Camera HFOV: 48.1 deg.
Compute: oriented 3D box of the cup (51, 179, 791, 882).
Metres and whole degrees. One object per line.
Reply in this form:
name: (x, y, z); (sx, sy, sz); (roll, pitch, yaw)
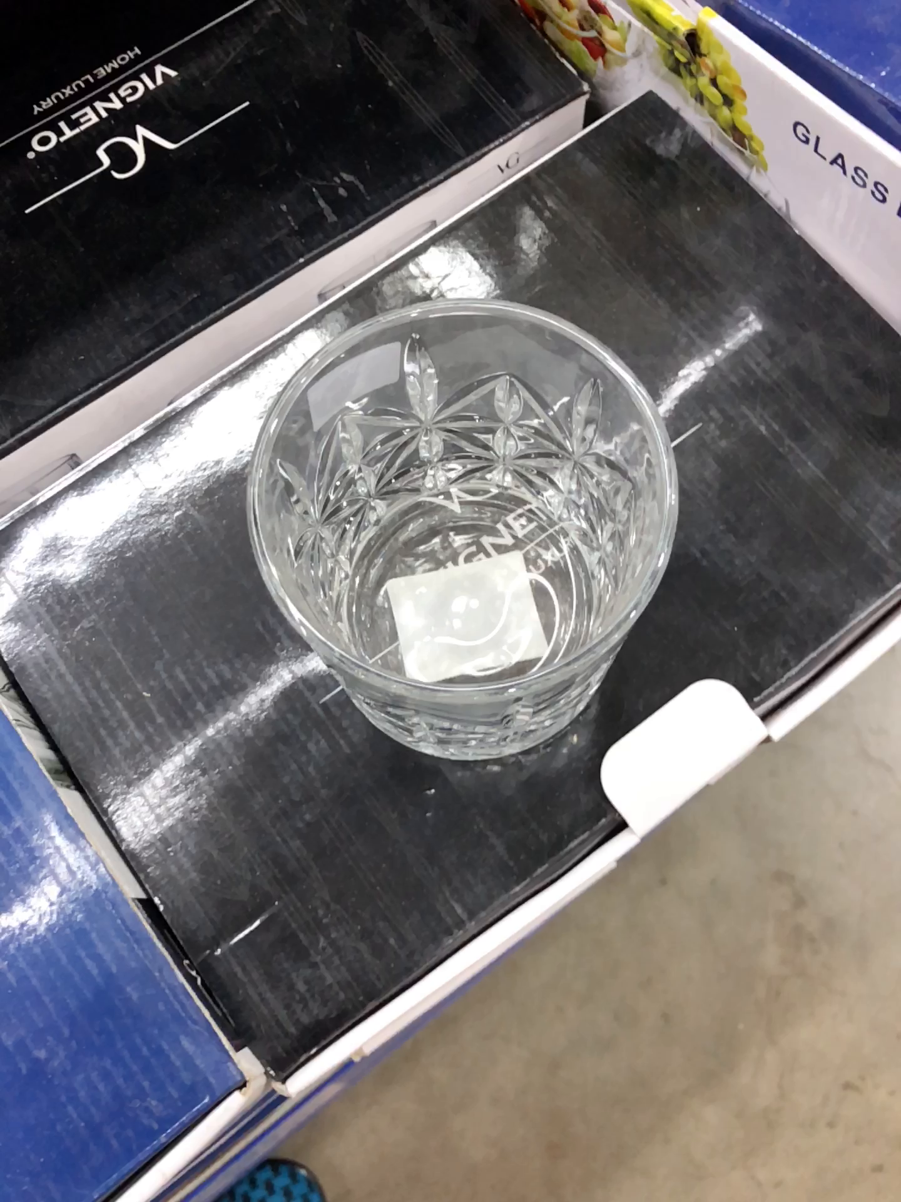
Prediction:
cup: (-0.004, -0.007, 0.240); (0.100, 0.100, 0.100); (-1, 74, 3)
